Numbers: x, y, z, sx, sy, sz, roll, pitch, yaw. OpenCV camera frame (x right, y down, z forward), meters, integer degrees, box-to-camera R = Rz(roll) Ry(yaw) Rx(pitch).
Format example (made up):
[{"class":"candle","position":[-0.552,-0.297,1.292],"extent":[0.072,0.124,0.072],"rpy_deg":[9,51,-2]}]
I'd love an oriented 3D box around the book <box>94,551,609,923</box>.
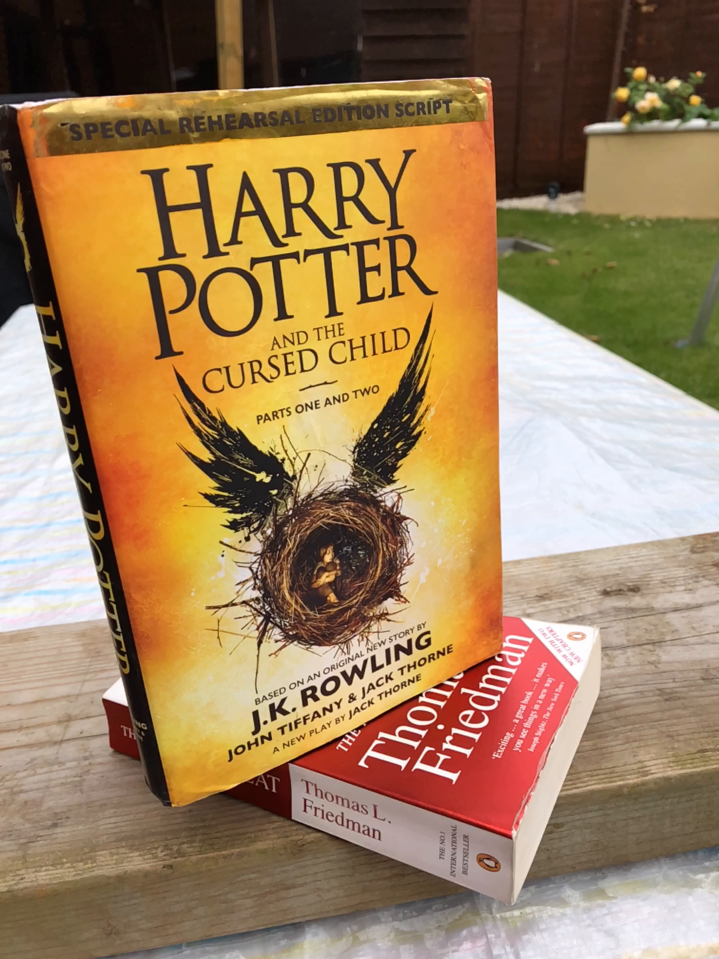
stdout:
[{"class":"book","position":[0.000,0.096,0.362],"extent":[0.190,0.040,0.131],"rpy_deg":[9,26,28]}]

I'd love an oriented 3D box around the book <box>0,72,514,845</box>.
[{"class":"book","position":[-0.024,-0.013,0.290],"extent":[0.170,0.239,0.040],"rpy_deg":[-15,22,-28]}]
